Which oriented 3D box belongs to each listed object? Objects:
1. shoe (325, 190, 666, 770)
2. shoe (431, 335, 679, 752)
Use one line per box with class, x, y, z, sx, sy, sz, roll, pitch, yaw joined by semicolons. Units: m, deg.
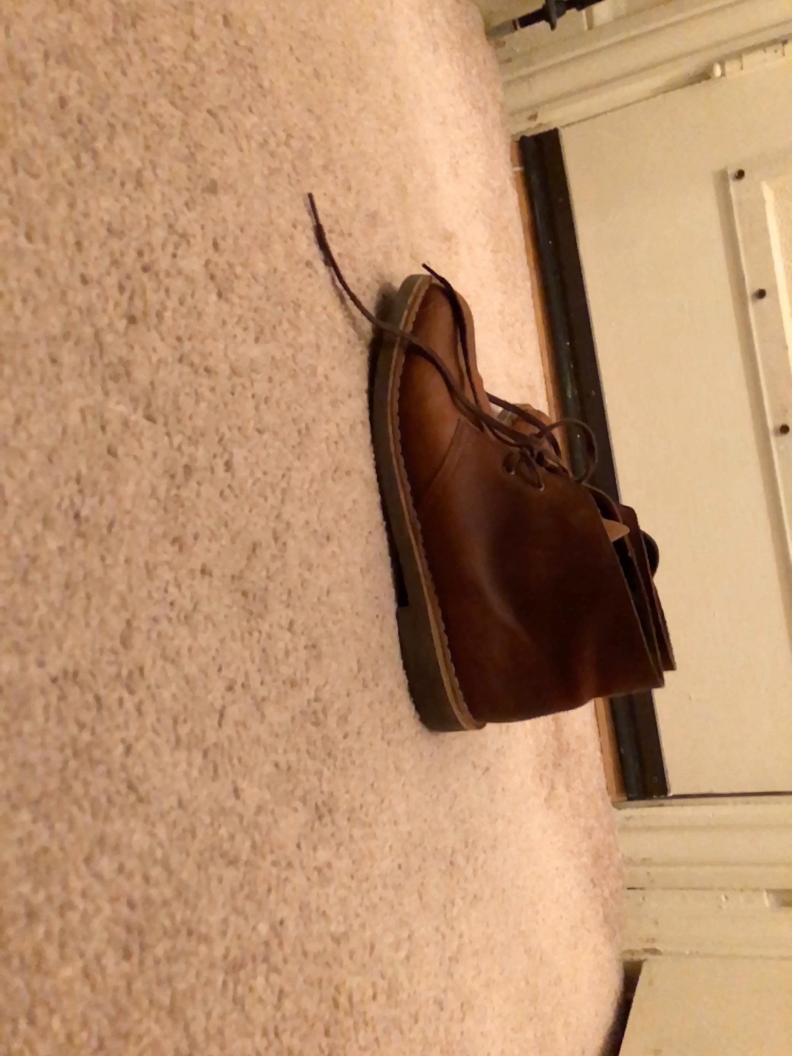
shoe;0.065;-0.021;0.533;0.111;0.138;0.303;-4;85;-68
shoe;0.128;0.005;0.672;0.110;0.138;0.304;59;31;-43
